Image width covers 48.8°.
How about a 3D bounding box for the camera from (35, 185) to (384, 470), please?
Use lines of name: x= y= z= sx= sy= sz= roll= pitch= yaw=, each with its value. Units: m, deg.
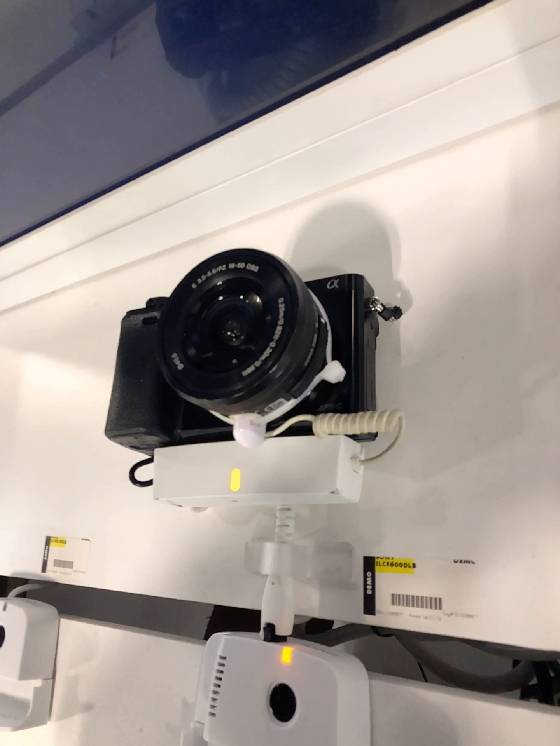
camera: x=-0.029 y=-0.009 z=0.273 sx=0.131 sy=0.070 sz=0.090 roll=-7 pitch=70 yaw=29
